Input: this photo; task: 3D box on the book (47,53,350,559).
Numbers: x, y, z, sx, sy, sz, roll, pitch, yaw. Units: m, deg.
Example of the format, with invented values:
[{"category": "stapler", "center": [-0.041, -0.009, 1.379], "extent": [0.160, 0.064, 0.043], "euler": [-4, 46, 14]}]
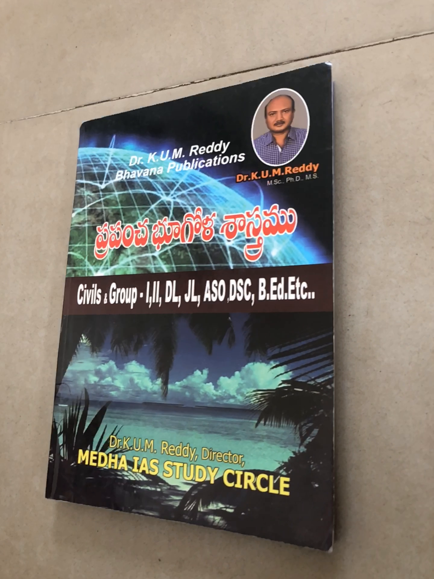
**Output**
[{"category": "book", "center": [-0.014, 0.003, 0.297], "extent": [0.180, 0.030, 0.260], "euler": [-3, 80, 25]}]
